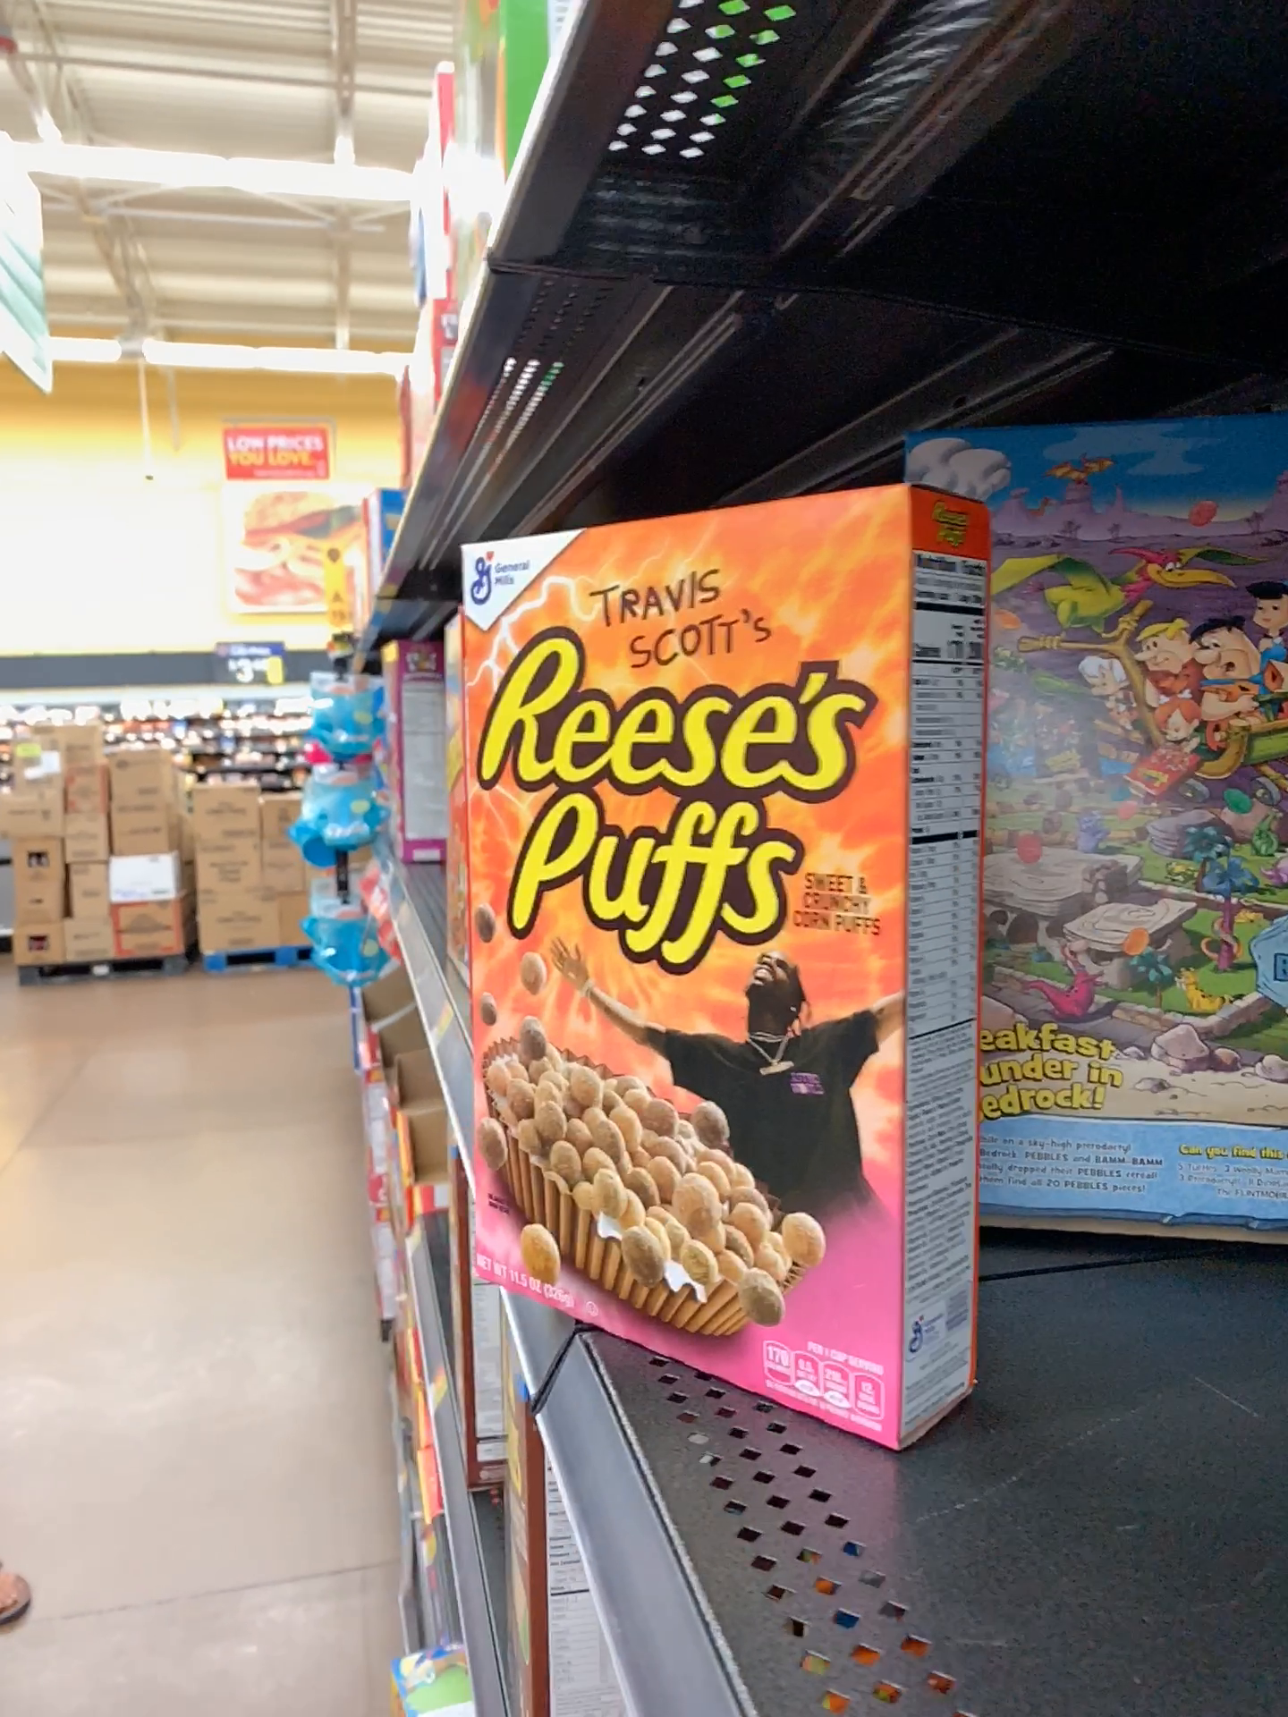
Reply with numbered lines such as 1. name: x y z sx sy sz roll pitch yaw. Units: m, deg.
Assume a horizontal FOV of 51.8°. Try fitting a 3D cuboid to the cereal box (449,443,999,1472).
1. cereal box: 0.017 0.025 0.457 0.200 0.290 0.050 3 5 43
